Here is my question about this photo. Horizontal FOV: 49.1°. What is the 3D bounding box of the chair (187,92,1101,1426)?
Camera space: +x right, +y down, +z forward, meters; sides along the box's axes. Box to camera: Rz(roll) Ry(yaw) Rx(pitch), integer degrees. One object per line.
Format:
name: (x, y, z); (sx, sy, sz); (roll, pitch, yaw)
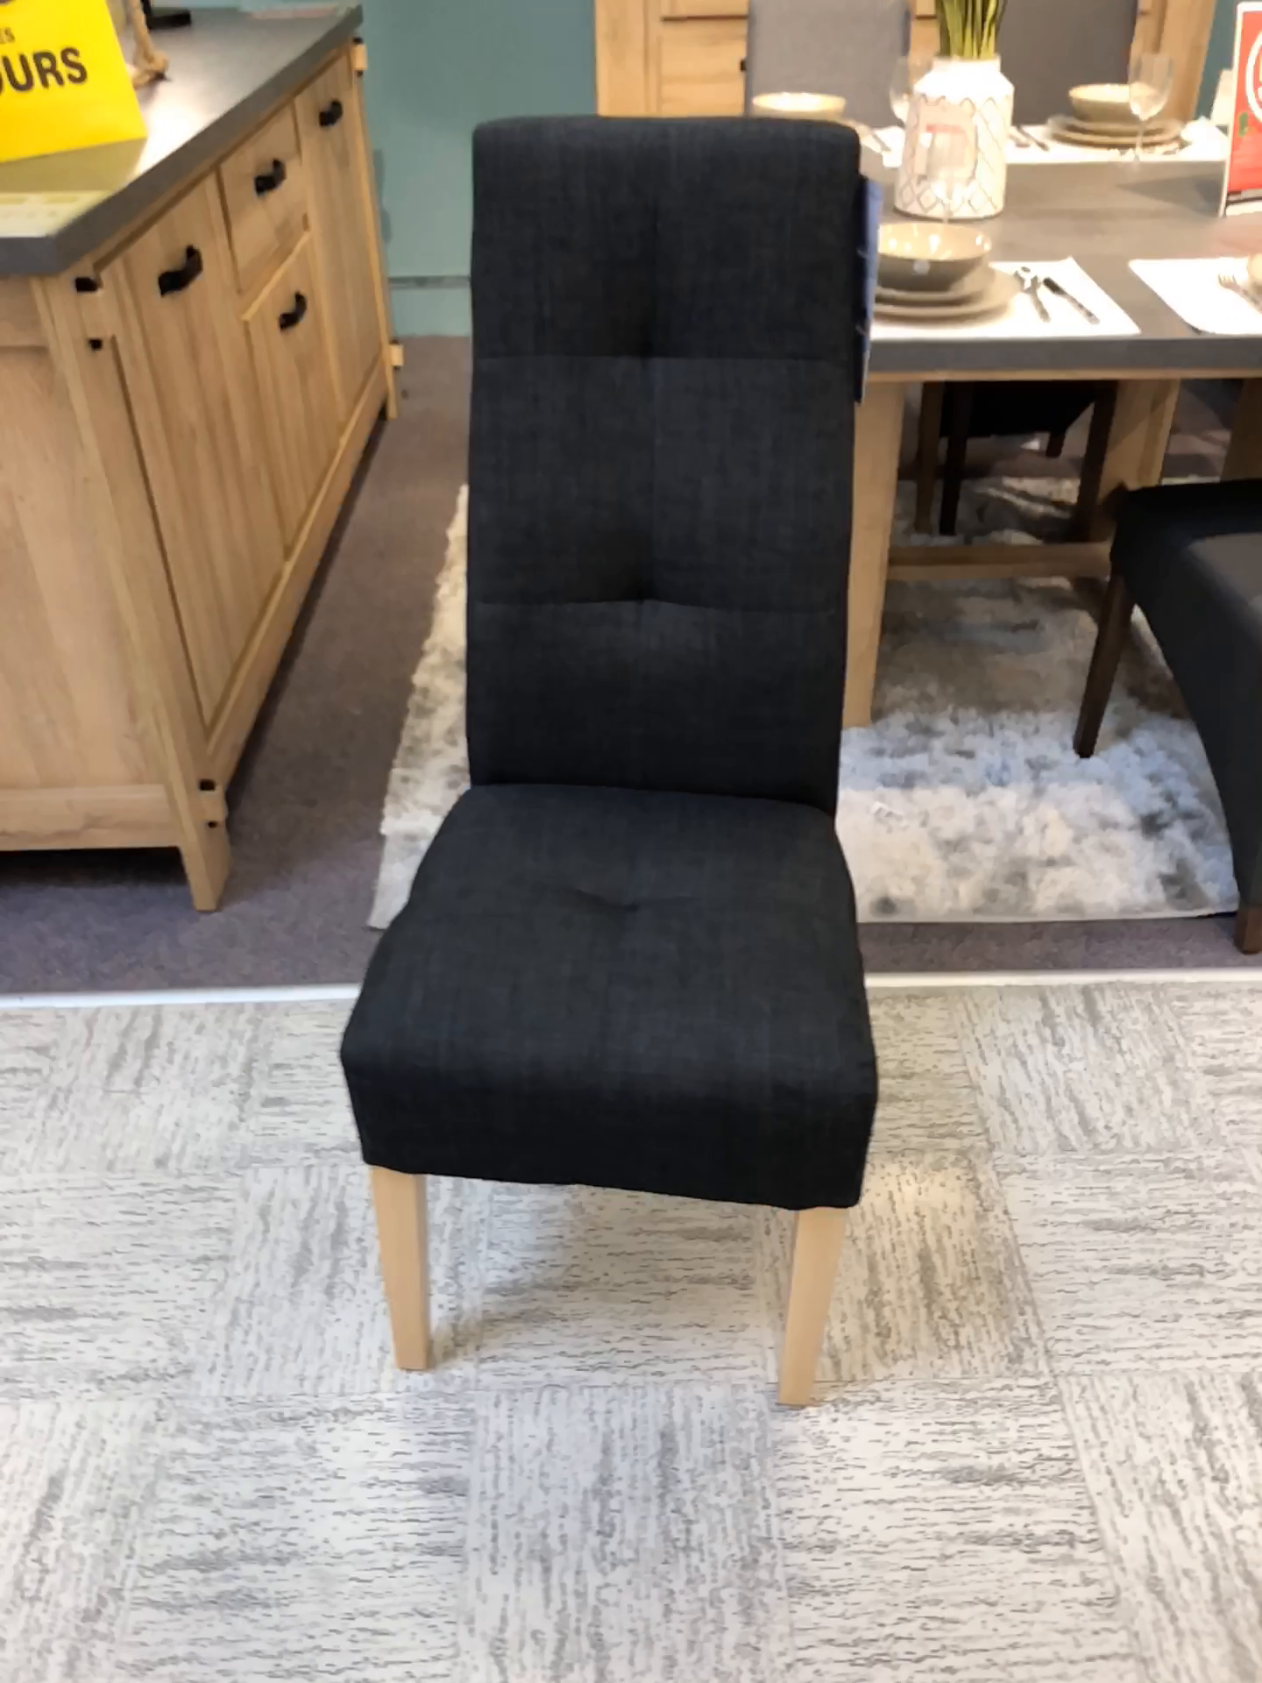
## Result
chair: (0.033, -0.054, 1.272); (0.480, 1.043, 0.604); (2, 36, 4)
